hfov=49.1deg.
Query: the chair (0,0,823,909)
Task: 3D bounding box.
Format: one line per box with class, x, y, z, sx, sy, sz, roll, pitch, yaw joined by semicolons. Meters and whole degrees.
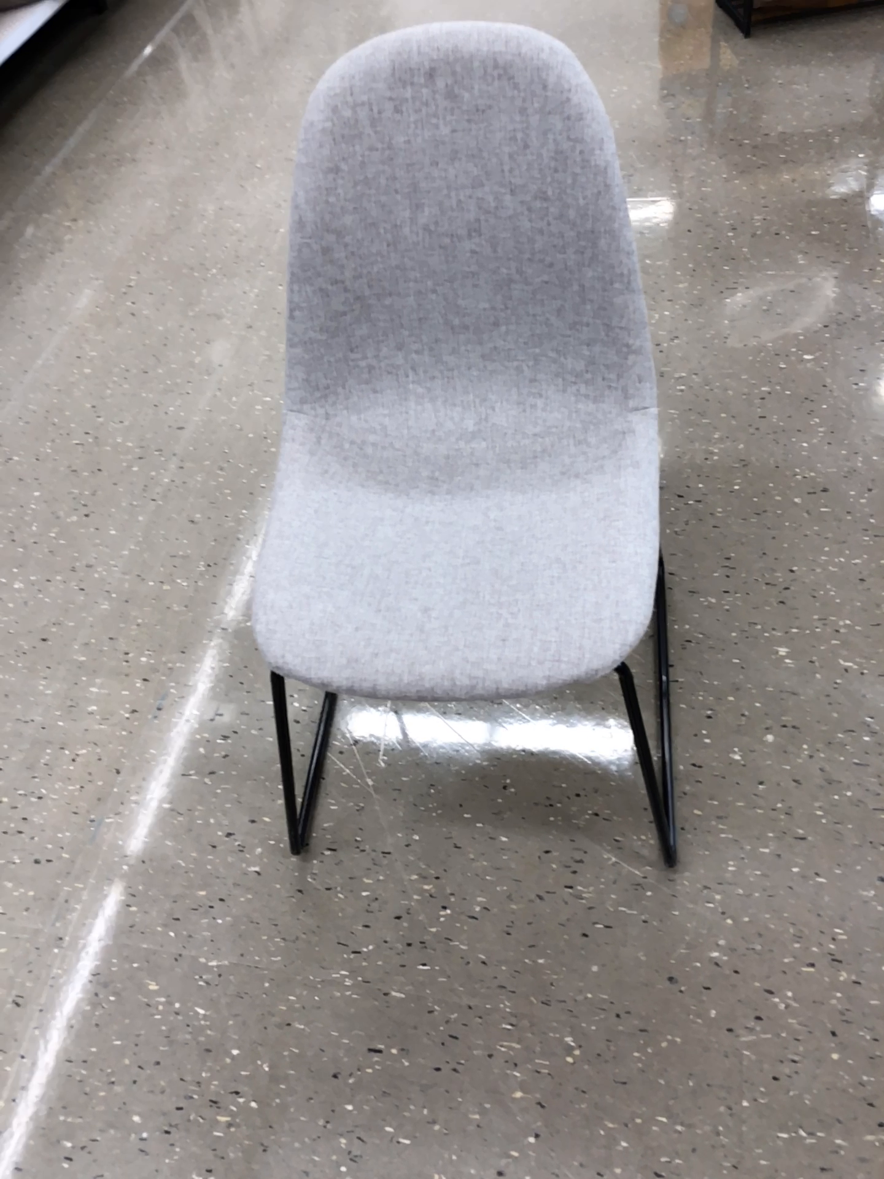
chair;0.003;-0.093;1.071;0.590;0.778;0.582;-1;50;10
